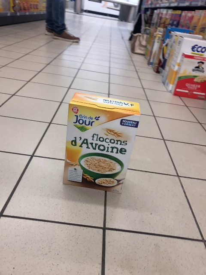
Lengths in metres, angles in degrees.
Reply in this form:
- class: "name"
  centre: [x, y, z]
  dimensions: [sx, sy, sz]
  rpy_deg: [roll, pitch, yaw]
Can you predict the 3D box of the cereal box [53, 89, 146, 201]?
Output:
- class: "cereal box"
  centre: [-0.013, 0.020, 0.496]
  dimensions: [0.160, 0.209, 0.070]
  rpy_deg: [11, 27, 0]
